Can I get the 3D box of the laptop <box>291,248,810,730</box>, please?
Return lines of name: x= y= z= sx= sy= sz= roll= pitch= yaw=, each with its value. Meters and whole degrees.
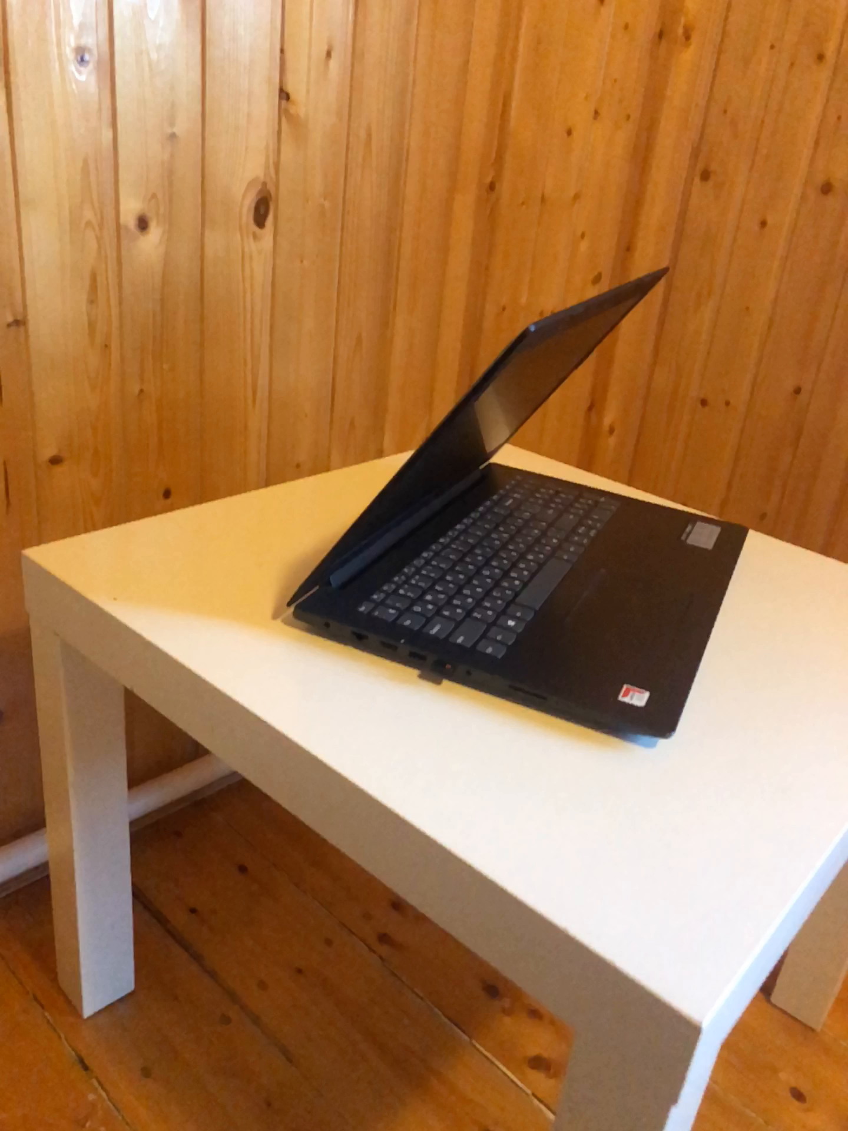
laptop: x=0.114 y=-0.097 z=0.686 sx=0.250 sy=0.206 sz=0.374 roll=16 pitch=27 yaw=20
